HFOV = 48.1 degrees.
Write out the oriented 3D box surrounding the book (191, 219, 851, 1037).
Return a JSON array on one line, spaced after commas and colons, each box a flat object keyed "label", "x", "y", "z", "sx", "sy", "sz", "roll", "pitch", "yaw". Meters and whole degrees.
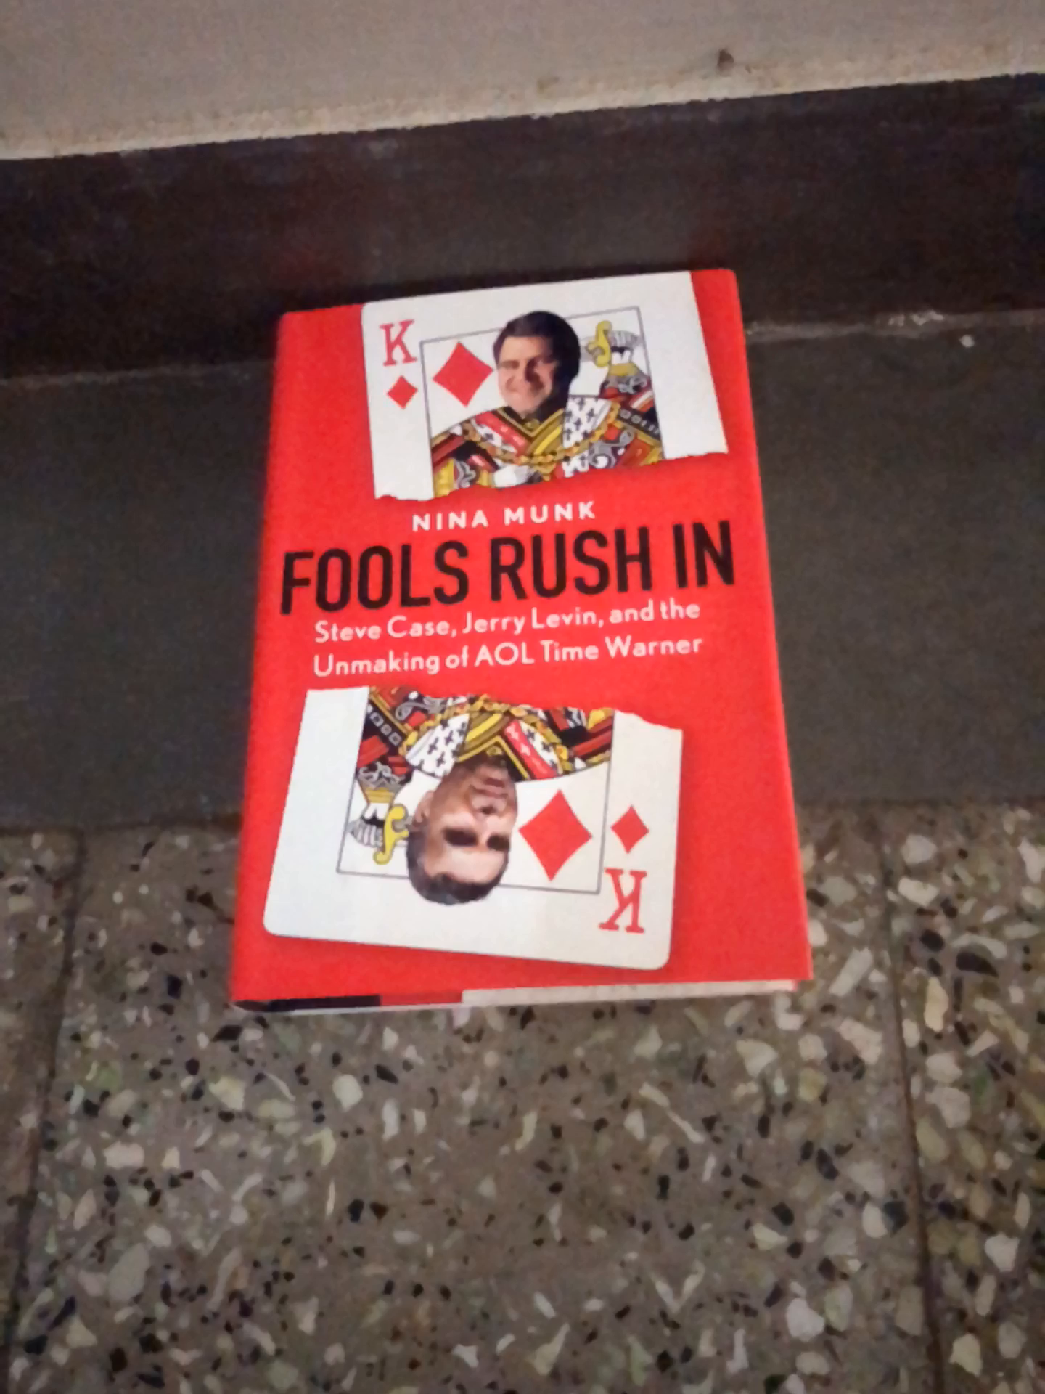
[{"label": "book", "x": -0.006, "y": -0.034, "z": 0.385, "sx": 0.180, "sy": 0.030, "sz": 0.270, "roll": -4, "pitch": 66, "yaw": 5}]
